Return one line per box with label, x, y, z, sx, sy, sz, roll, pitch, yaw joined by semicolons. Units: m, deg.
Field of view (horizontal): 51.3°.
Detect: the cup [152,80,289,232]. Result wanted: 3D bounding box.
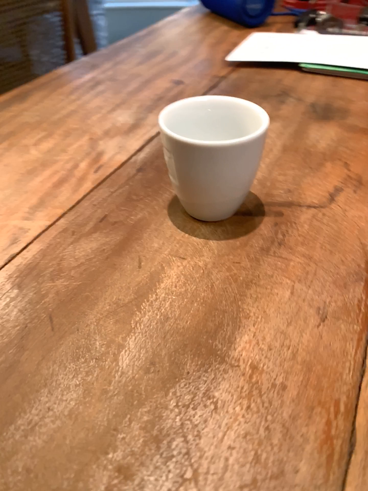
cup;0.015;-0.058;0.233;0.060;0.050;0.091;-6;41;-5
